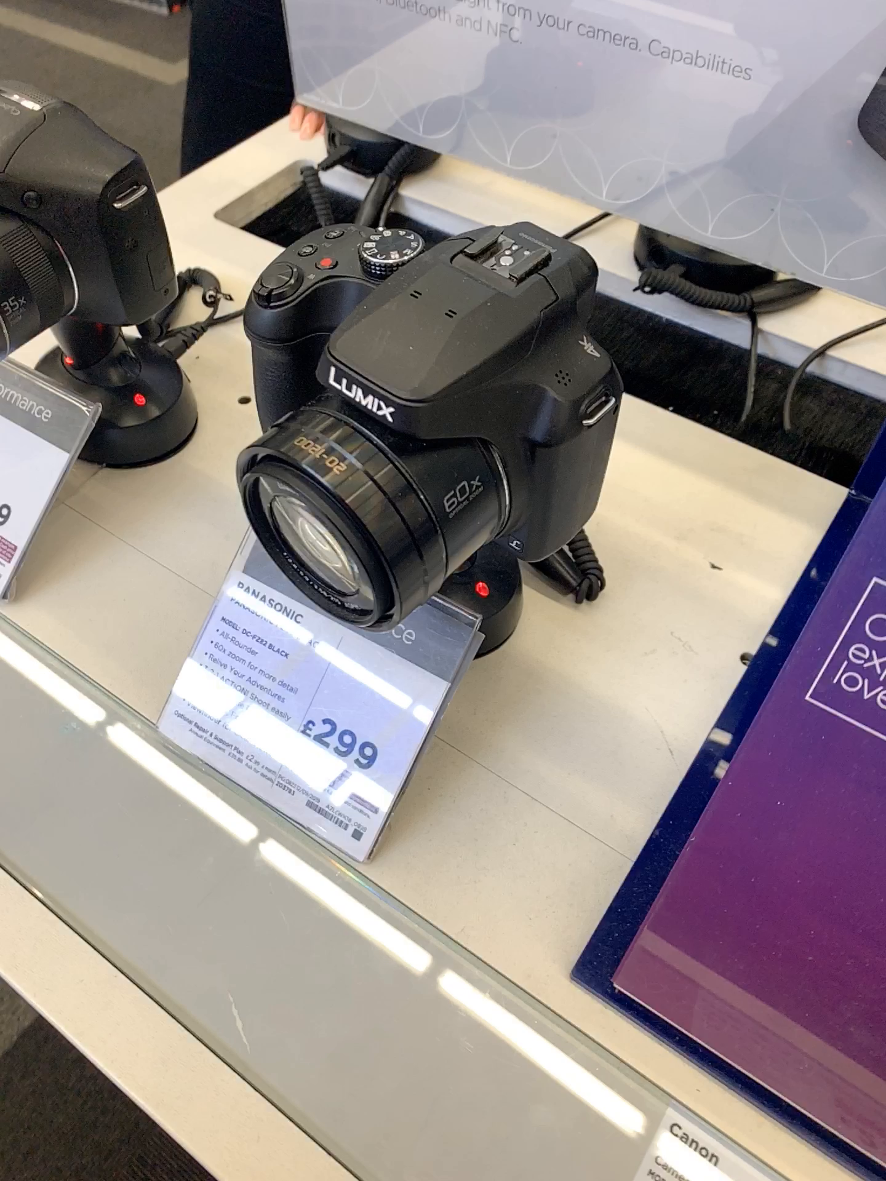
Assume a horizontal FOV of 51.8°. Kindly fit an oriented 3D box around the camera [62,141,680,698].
[{"bbox_3d":[-0.019,-0.062,0.293,0.130,0.079,0.121,32,59,23],"label":"camera"}]
